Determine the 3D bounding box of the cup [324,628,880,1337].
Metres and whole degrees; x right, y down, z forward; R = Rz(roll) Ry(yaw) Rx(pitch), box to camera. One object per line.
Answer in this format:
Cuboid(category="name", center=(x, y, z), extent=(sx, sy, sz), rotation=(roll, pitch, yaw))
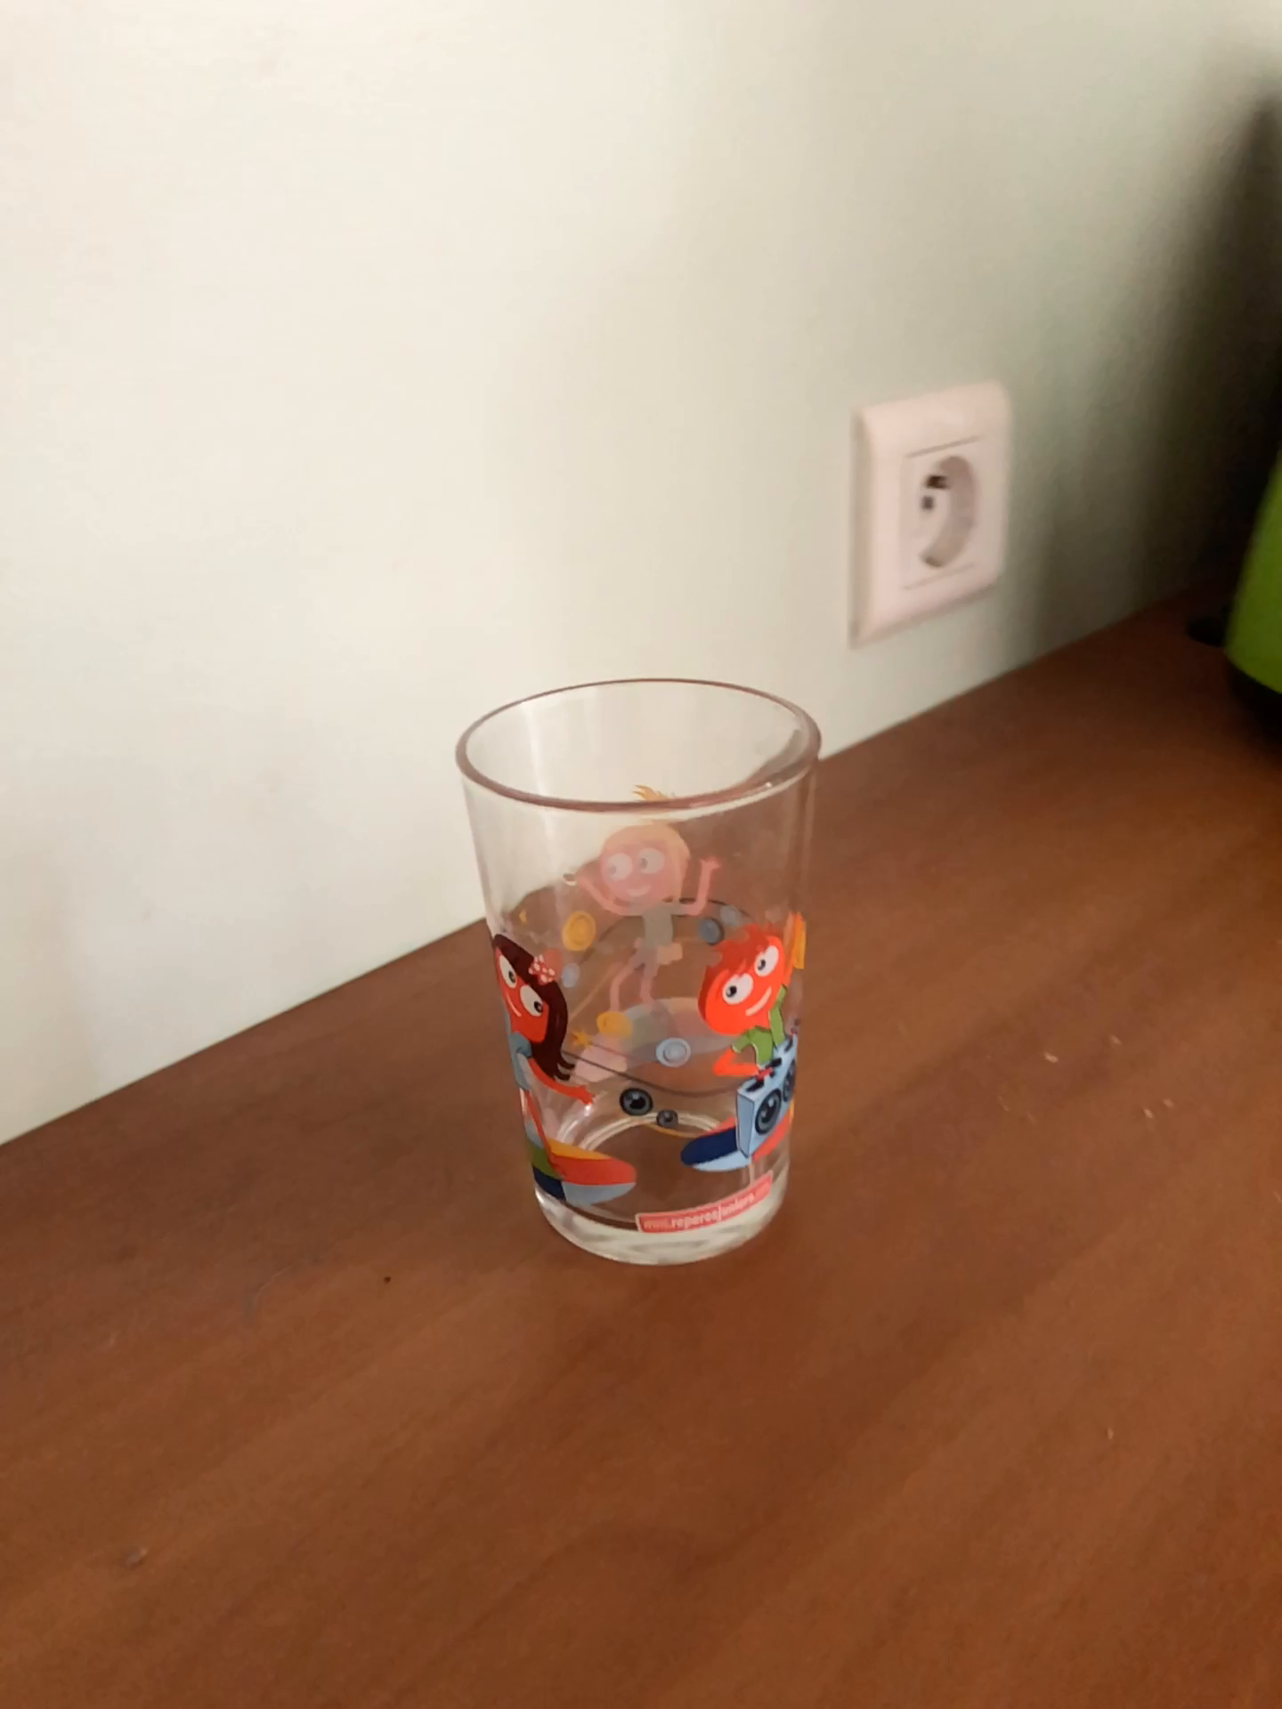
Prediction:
Cuboid(category="cup", center=(-0.004, 0.018, 0.273), extent=(0.070, 0.099, 0.070), rotation=(-3, 25, 1))
